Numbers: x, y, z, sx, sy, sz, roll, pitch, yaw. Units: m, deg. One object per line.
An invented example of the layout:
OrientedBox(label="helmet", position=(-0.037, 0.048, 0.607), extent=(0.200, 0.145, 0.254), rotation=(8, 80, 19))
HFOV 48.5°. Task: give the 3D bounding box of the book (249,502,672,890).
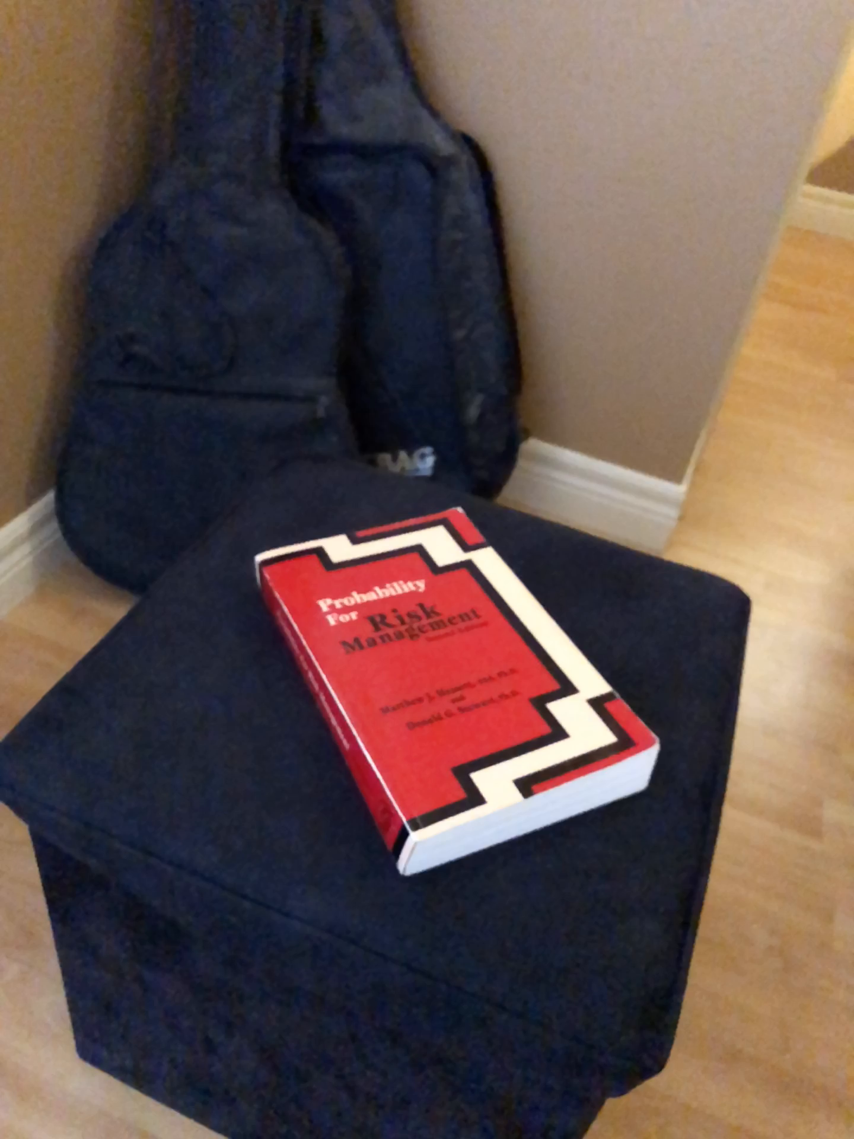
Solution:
OrientedBox(label="book", position=(0.007, 0.053, 0.533), extent=(0.150, 0.041, 0.216), rotation=(-12, 44, -25))
